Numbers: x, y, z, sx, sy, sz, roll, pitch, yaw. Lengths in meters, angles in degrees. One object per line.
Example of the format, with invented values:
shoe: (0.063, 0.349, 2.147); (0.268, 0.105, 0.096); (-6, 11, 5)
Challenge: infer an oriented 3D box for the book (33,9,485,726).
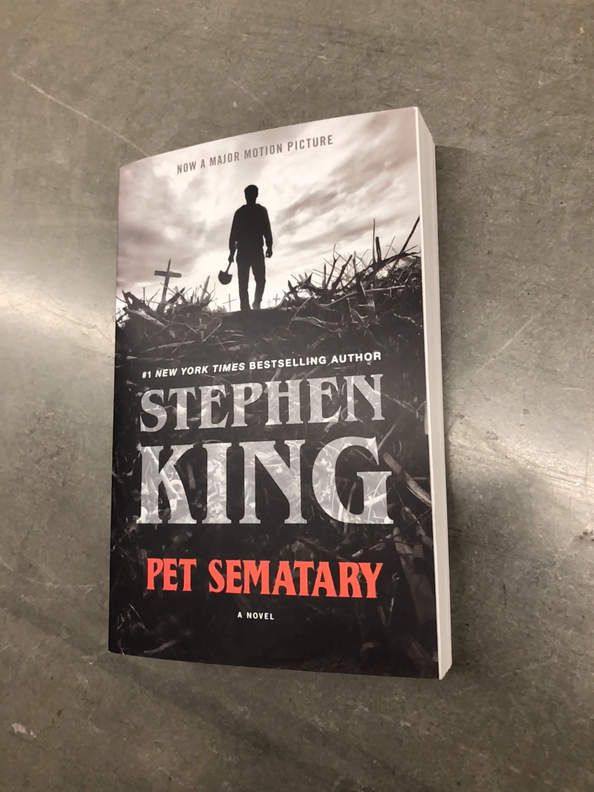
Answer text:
book: (-0.017, -0.008, 0.250); (0.160, 0.050, 0.220); (-2, 87, 18)
